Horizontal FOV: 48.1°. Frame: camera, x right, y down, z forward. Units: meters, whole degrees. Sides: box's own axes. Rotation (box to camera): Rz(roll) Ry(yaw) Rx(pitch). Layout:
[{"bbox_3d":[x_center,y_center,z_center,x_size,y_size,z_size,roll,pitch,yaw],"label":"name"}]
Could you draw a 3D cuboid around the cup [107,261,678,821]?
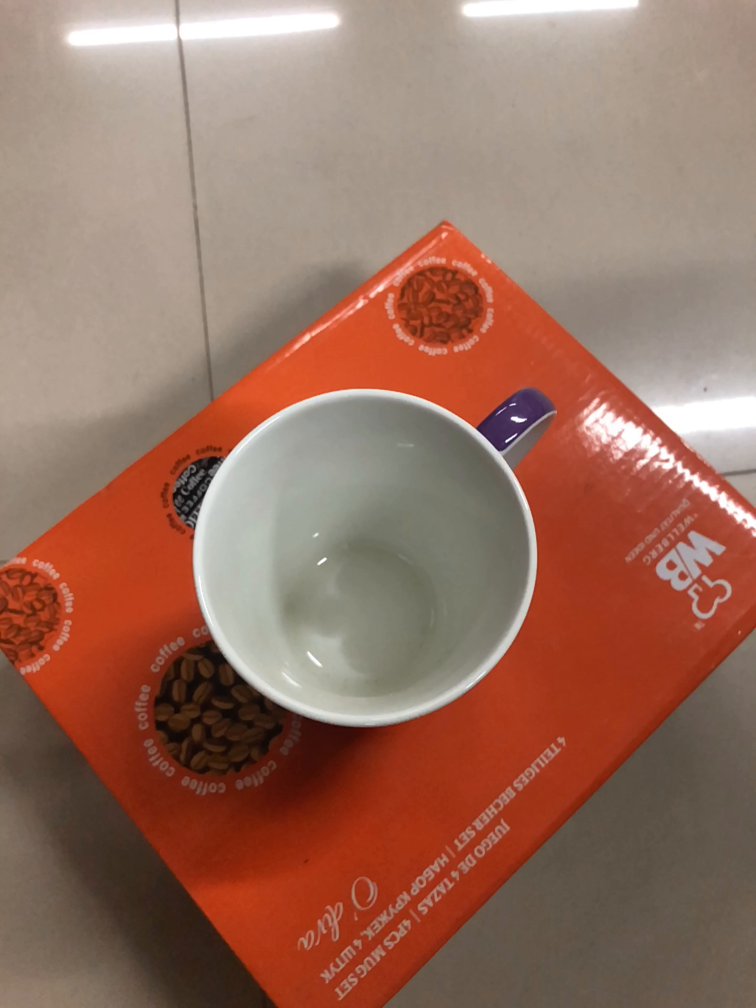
[{"bbox_3d":[0.004,0.016,0.247,0.080,0.100,0.110,43,78,10],"label":"cup"}]
